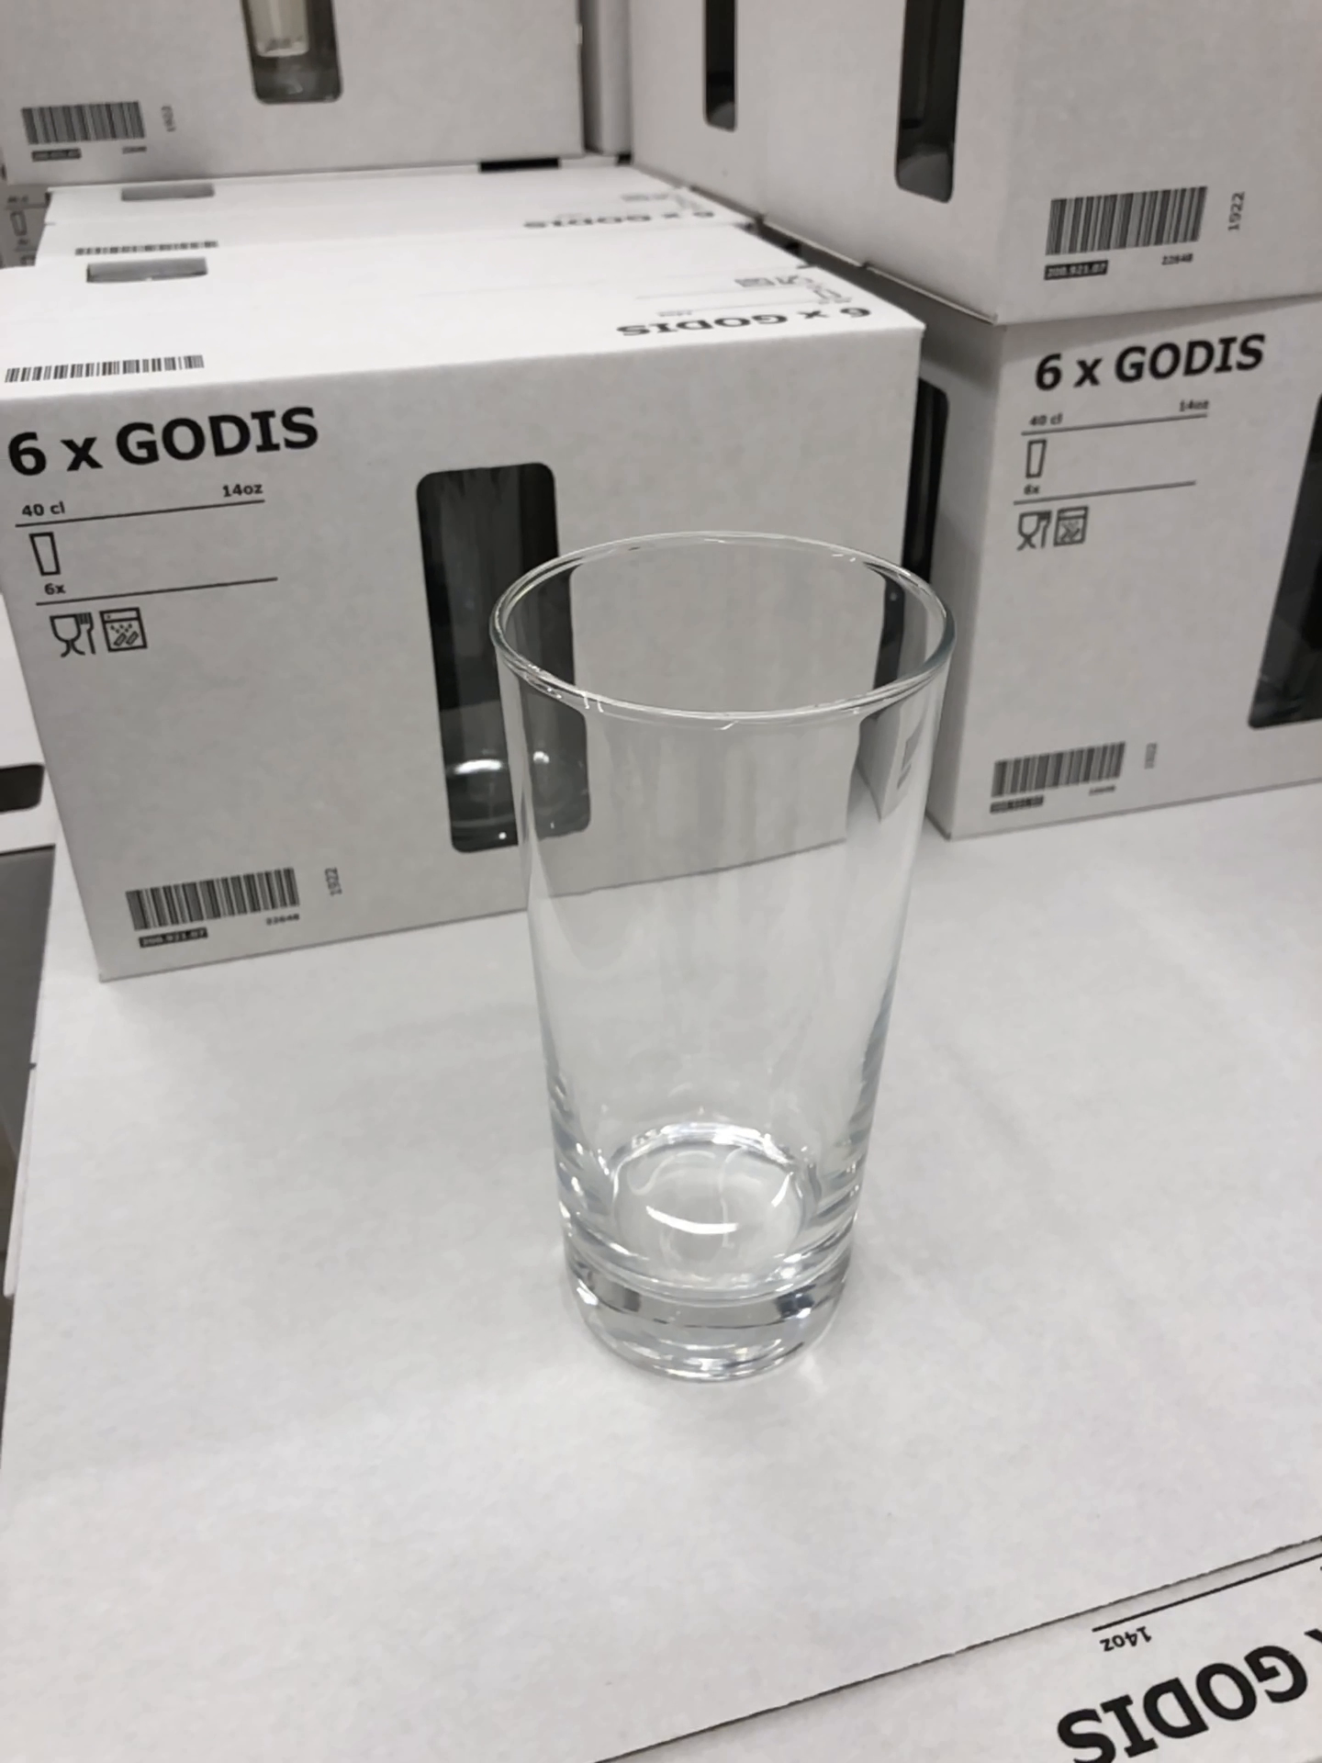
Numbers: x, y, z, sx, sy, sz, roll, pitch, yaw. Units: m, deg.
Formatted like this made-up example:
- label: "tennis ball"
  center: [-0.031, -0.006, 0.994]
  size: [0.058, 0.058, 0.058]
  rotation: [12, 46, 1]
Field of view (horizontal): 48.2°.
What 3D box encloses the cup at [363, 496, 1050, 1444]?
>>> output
- label: "cup"
  center: [0.007, 0.014, 0.281]
  size: [0.080, 0.139, 0.080]
  rotation: [0, 33, 0]
